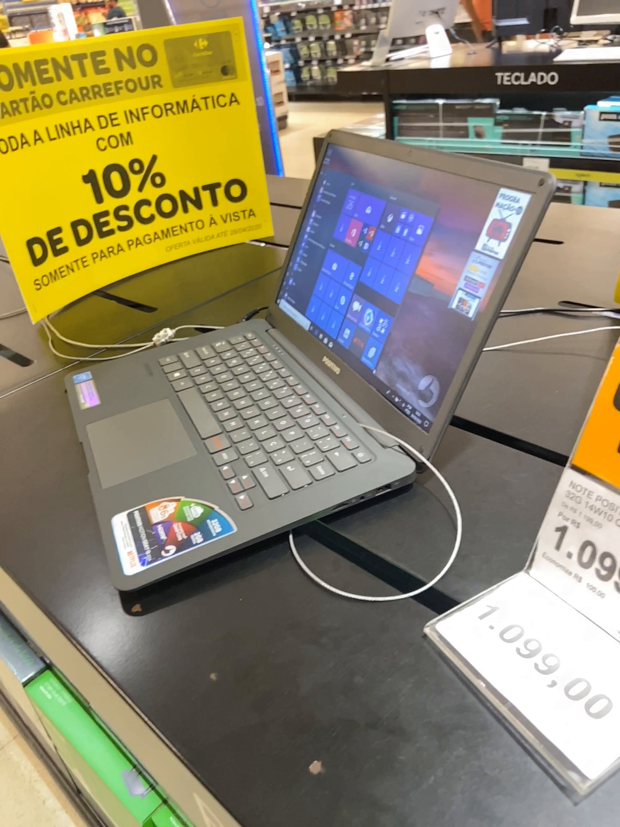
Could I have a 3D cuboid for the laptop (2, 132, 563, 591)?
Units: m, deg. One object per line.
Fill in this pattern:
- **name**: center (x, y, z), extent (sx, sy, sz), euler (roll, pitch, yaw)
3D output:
- **laptop**: center (-0.044, -0.081, 0.469), extent (0.292, 0.159, 0.297), euler (-19, 33, -16)
